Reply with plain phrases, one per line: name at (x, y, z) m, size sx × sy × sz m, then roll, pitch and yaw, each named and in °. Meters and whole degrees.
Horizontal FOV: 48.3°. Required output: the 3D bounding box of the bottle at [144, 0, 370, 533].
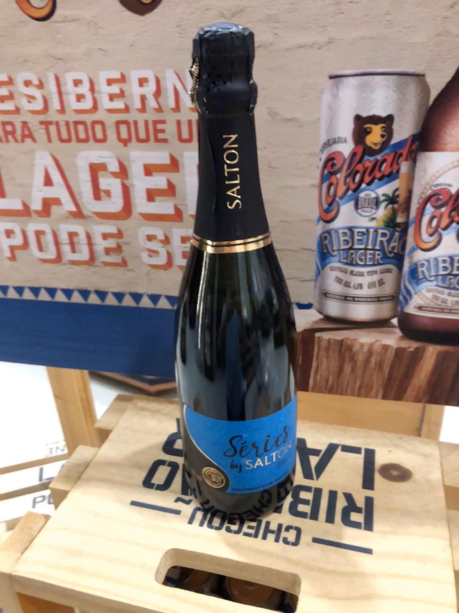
bottle at (0.012, -0.016, 0.318) m, size 0.090 × 0.317 × 0.081 m, roll -8°, pitch 26°, yaw -13°
